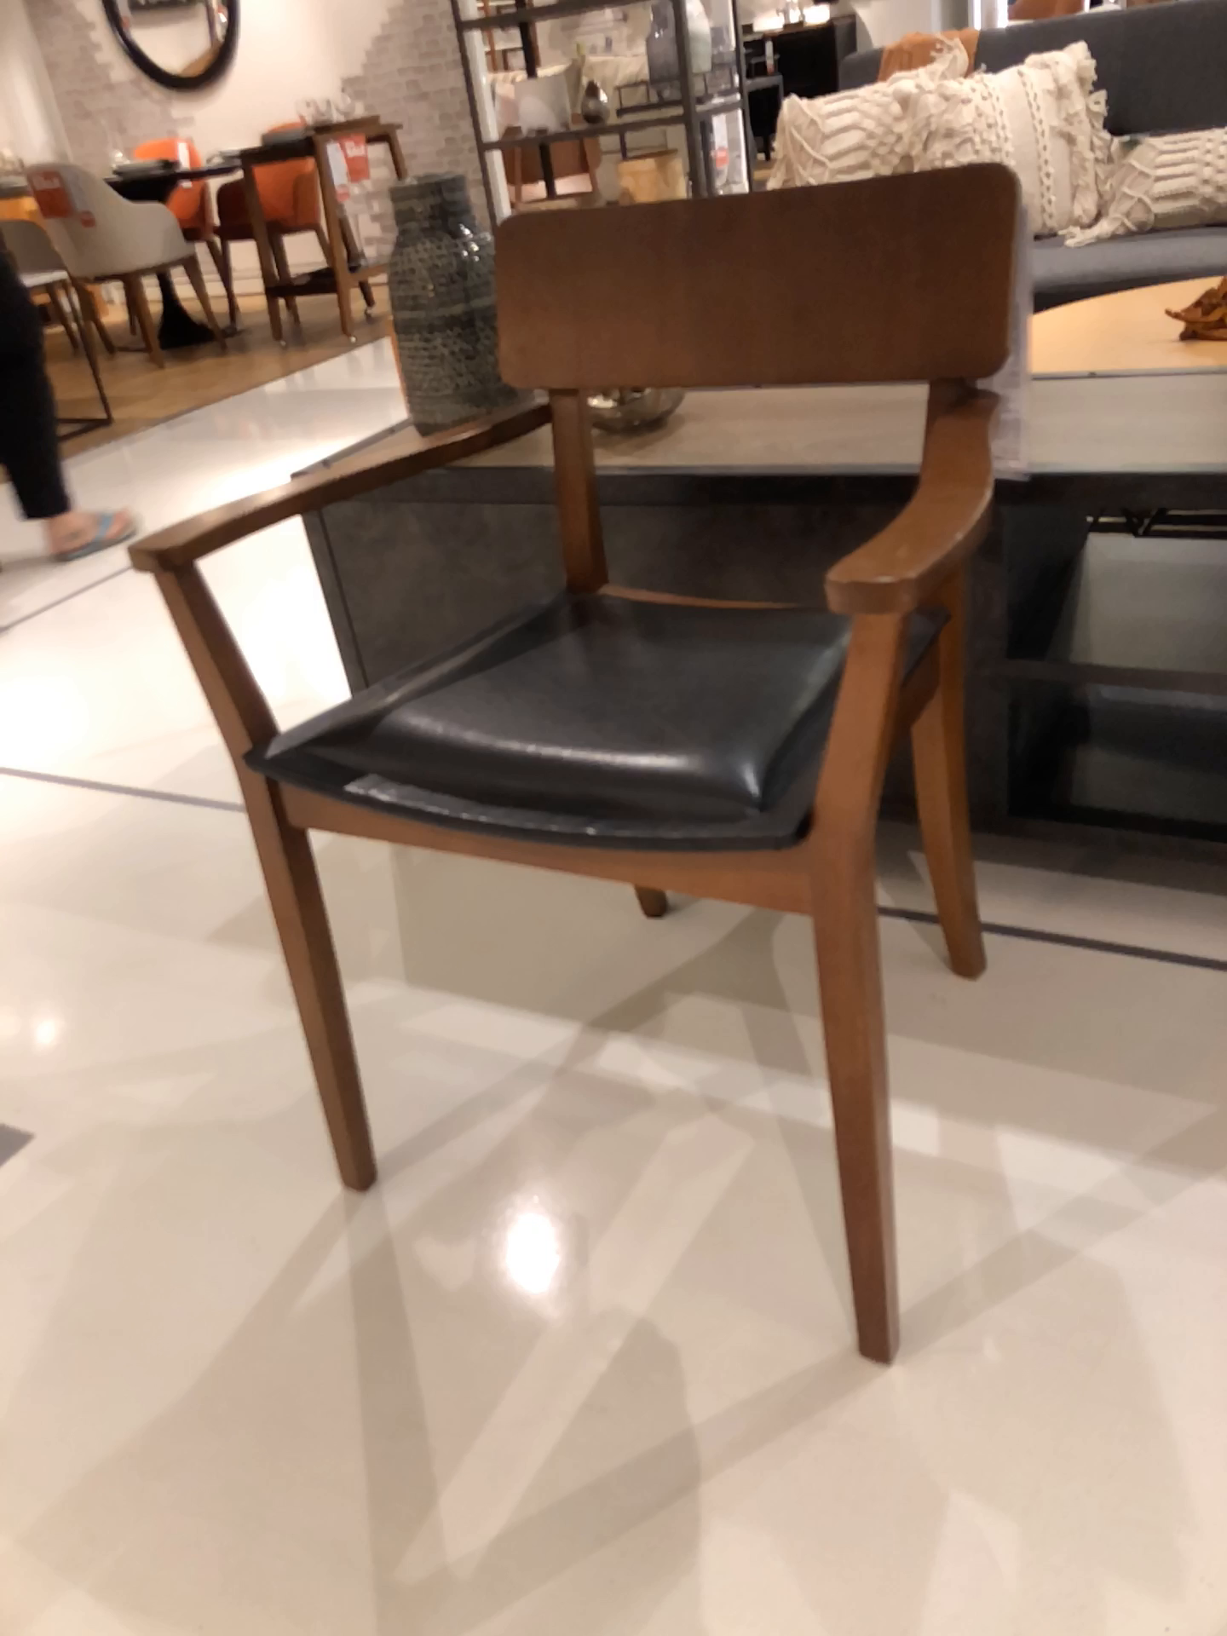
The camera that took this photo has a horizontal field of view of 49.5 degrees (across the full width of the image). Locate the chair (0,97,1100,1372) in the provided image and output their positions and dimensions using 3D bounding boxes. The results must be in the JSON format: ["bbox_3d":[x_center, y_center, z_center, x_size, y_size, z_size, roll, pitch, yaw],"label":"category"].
[{"bbox_3d":[0.038,-0.112,1.098,0.561,0.744,0.573,8,33,29],"label":"chair"}]
